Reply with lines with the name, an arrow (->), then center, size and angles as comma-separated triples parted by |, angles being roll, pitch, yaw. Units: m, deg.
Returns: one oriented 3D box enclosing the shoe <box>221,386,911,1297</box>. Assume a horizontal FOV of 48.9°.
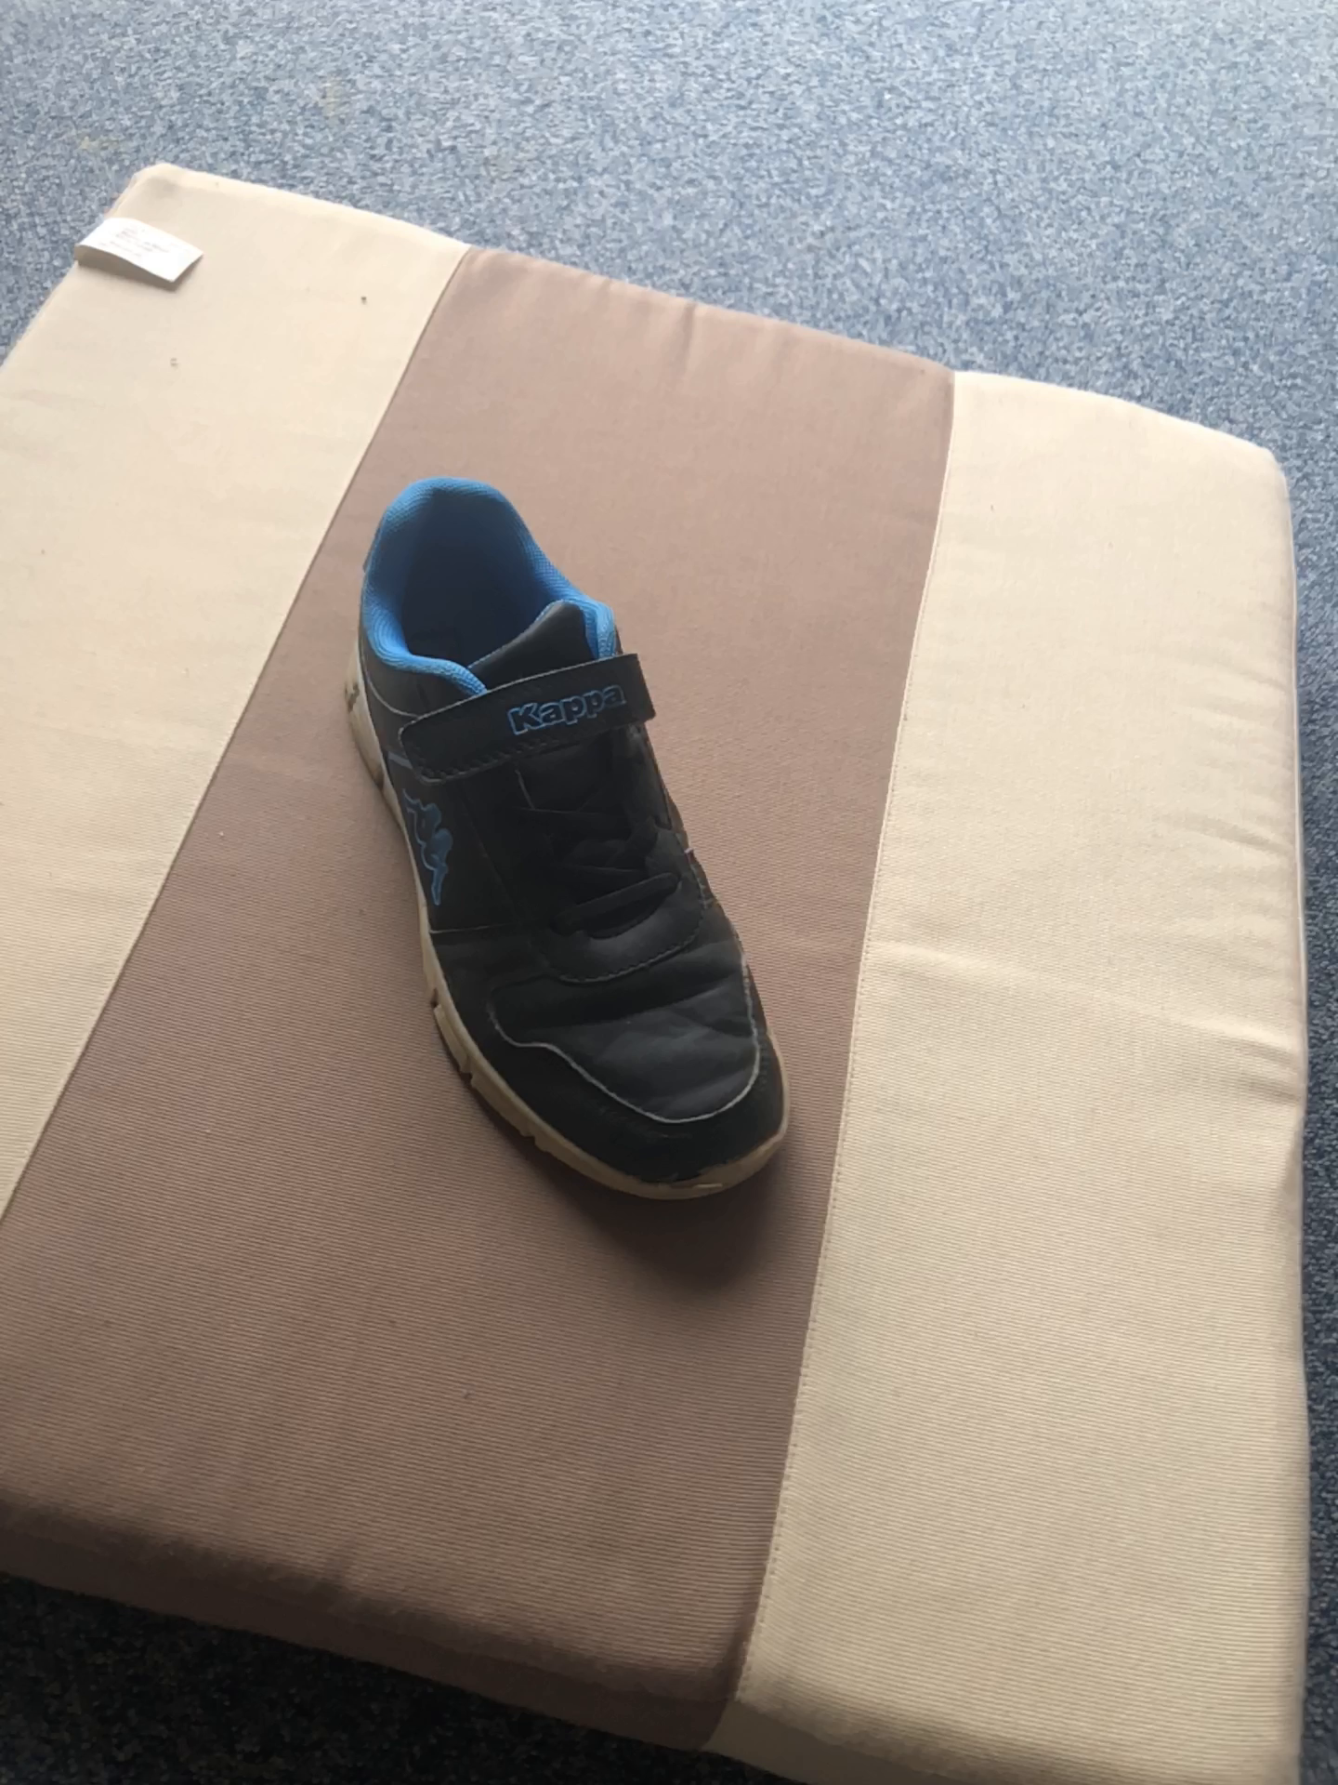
shoe -> -0.041, -0.024, 0.432 | 0.100, 0.090, 0.240 | -19, 63, -18
